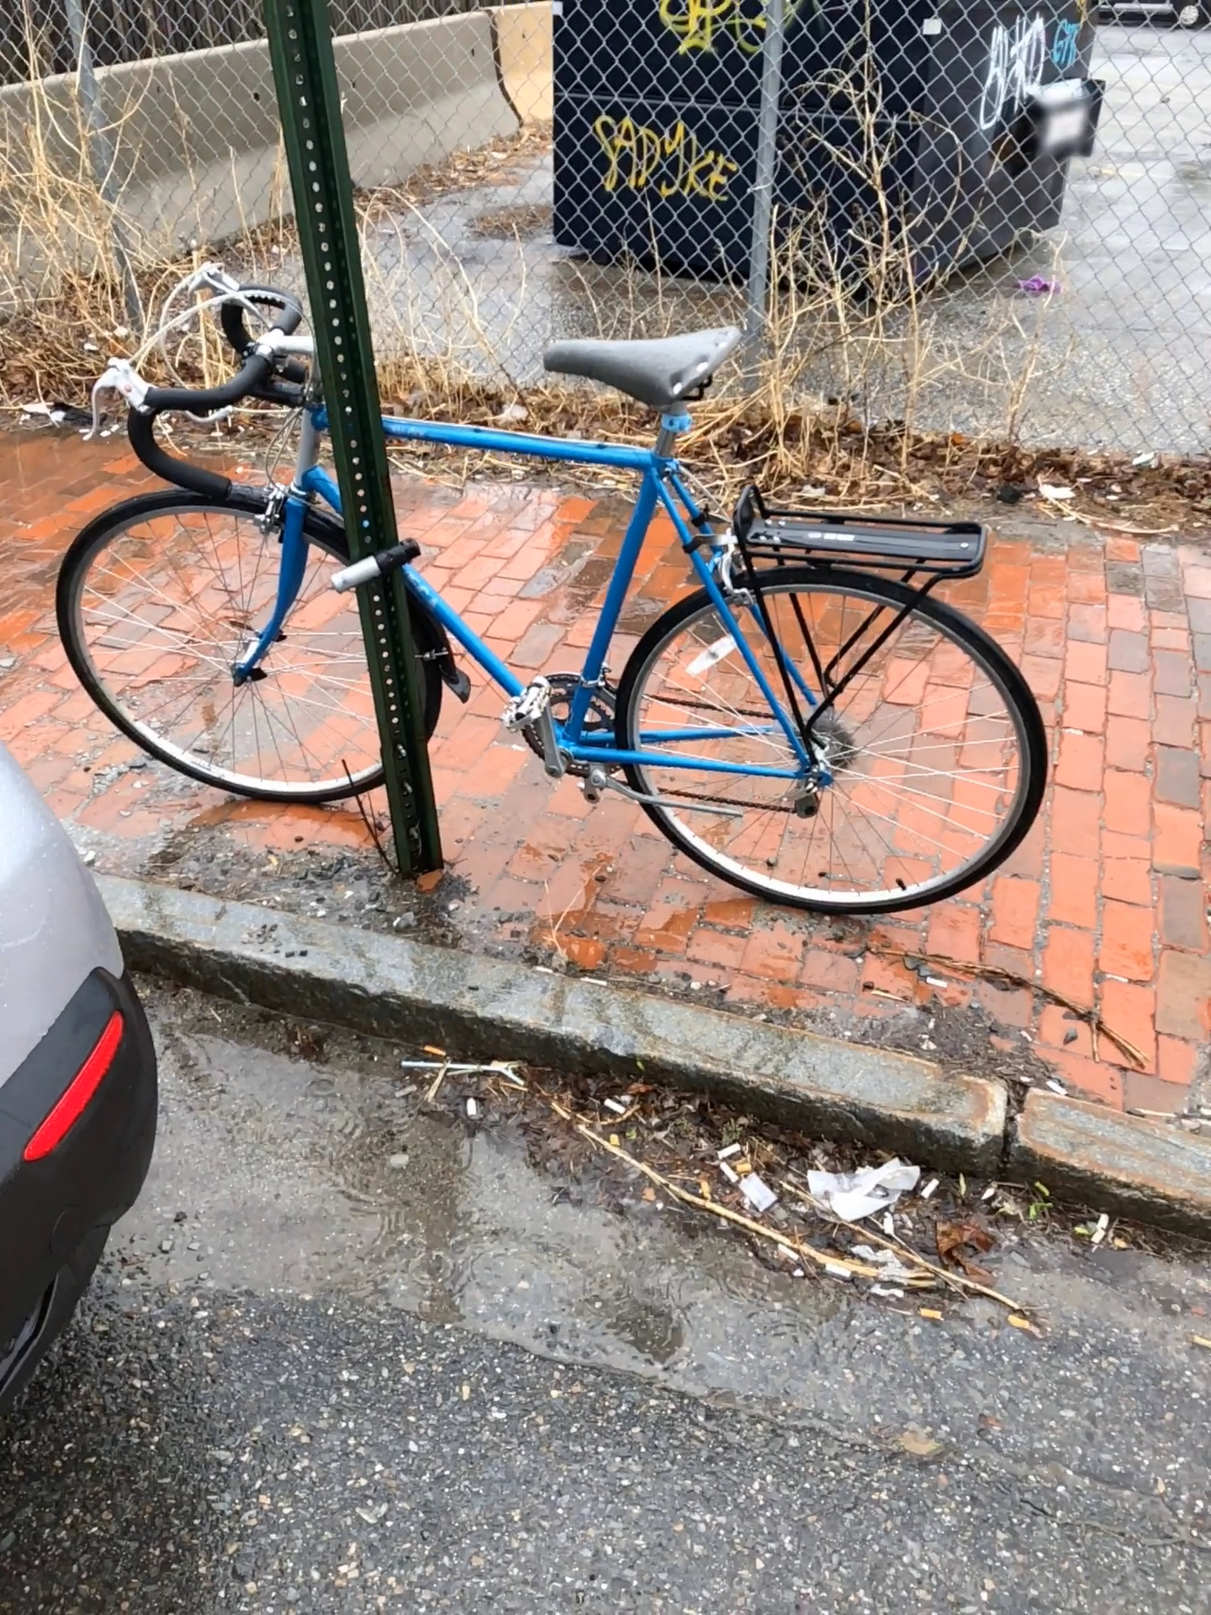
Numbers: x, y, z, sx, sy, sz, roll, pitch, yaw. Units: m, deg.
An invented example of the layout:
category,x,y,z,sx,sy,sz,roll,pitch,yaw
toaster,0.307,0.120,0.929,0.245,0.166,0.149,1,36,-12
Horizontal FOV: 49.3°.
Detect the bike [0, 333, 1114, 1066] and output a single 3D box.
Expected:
category,x,y,z,sx,sy,sz,roll,pitch,yaw
bike,-0.188,-0.229,2.335,1.864,0.919,0.475,9,35,12
